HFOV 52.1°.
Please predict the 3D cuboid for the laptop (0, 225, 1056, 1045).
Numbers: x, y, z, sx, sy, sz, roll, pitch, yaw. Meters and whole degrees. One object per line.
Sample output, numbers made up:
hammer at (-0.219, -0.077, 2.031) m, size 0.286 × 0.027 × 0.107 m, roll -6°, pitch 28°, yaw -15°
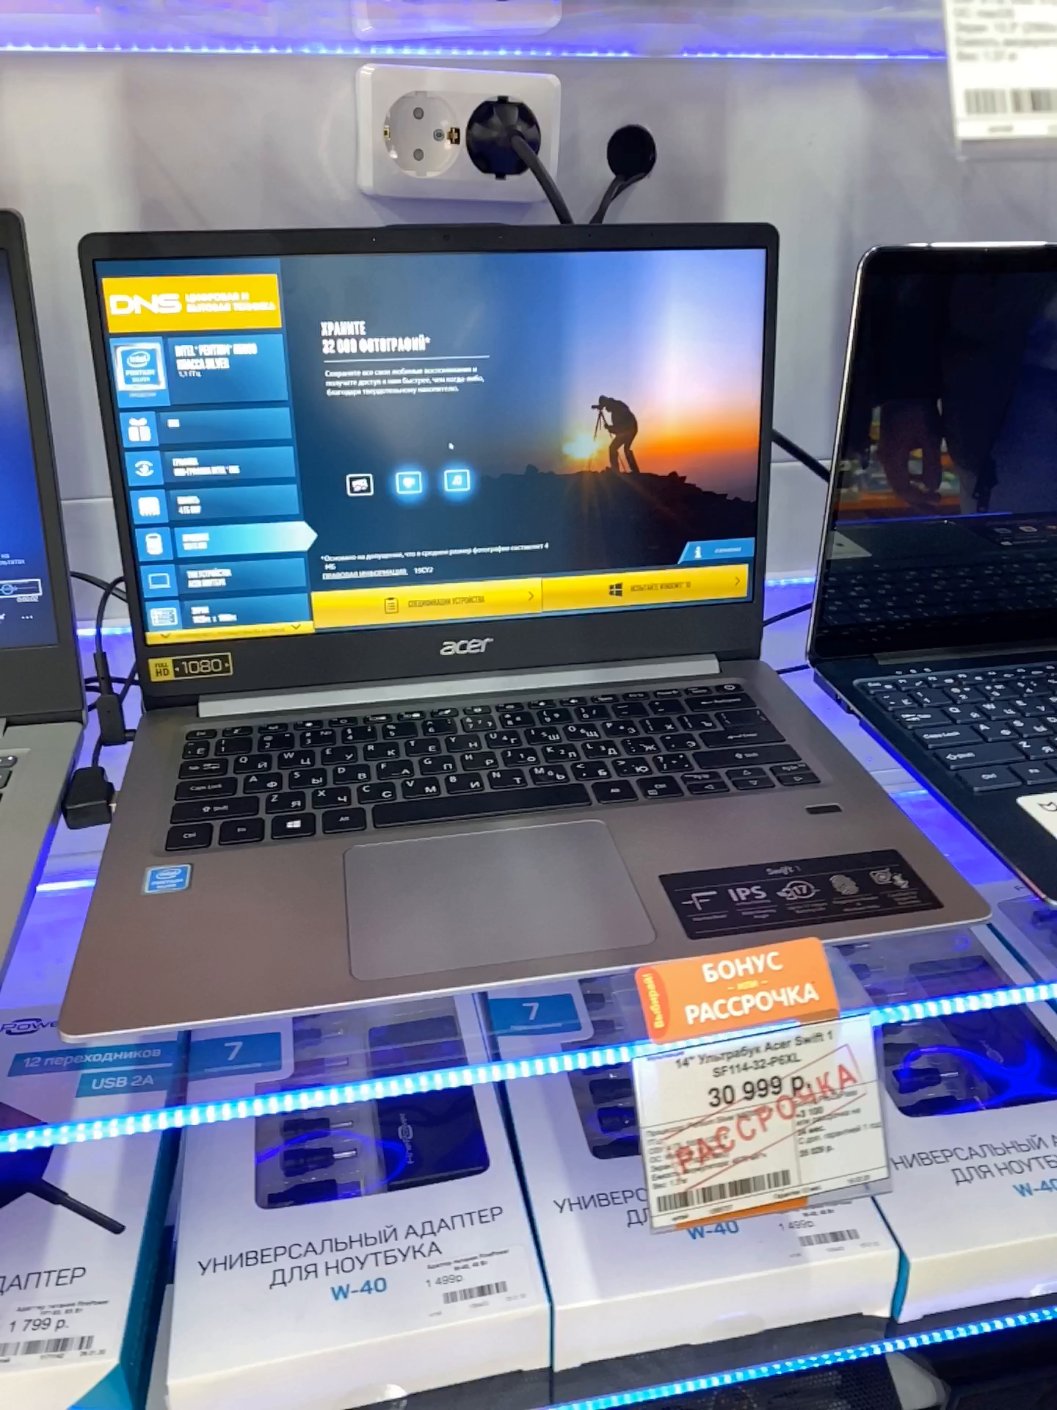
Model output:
laptop at (-0.012, -0.063, 0.423) m, size 0.318 × 0.206 × 0.258 m, roll -5°, pitch 28°, yaw -10°
